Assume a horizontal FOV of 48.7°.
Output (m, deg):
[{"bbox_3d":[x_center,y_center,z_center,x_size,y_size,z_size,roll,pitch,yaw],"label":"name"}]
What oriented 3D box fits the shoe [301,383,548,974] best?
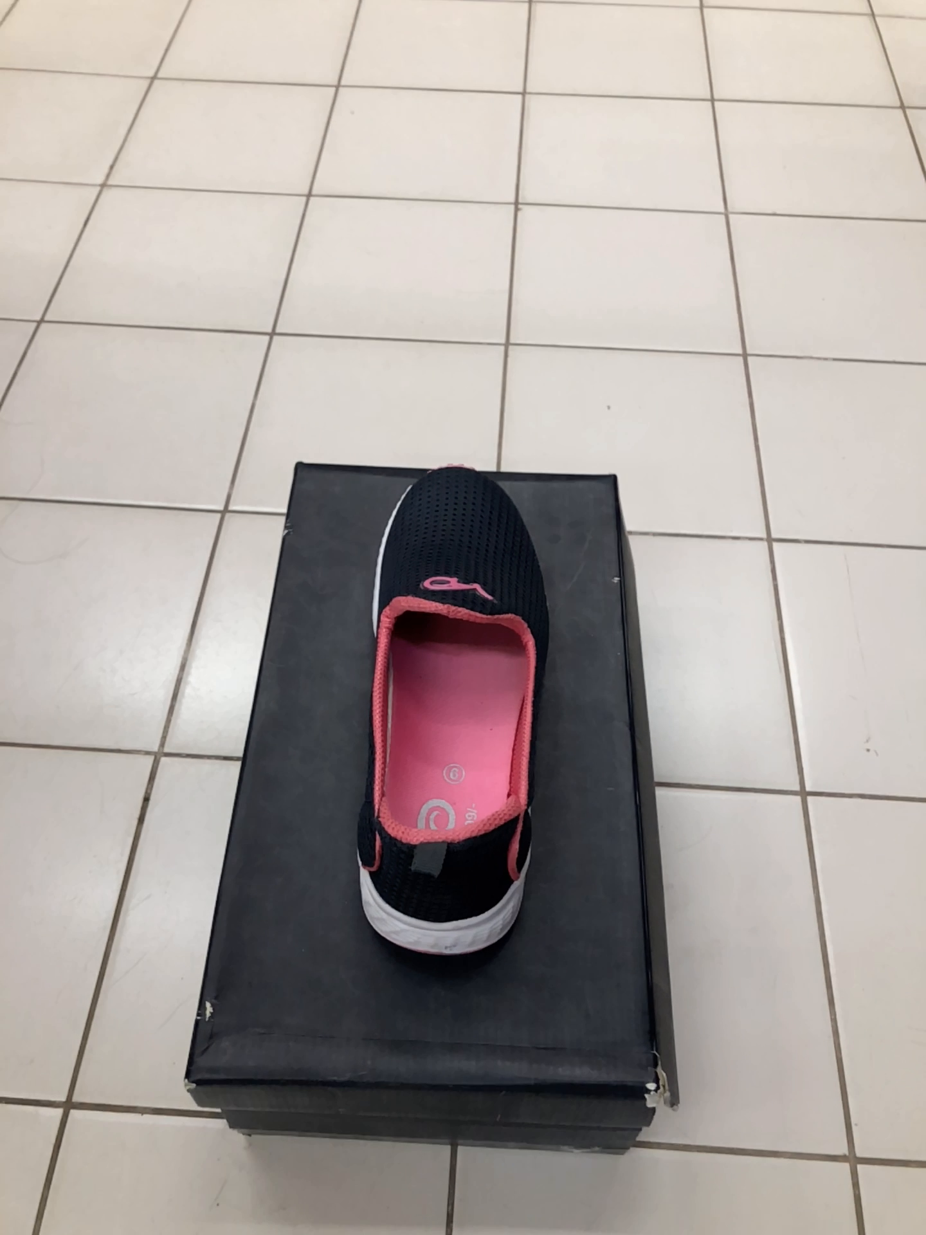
[{"bbox_3d":[-0.008,0.019,0.499,0.090,0.100,0.271,3,55,1],"label":"shoe"}]
